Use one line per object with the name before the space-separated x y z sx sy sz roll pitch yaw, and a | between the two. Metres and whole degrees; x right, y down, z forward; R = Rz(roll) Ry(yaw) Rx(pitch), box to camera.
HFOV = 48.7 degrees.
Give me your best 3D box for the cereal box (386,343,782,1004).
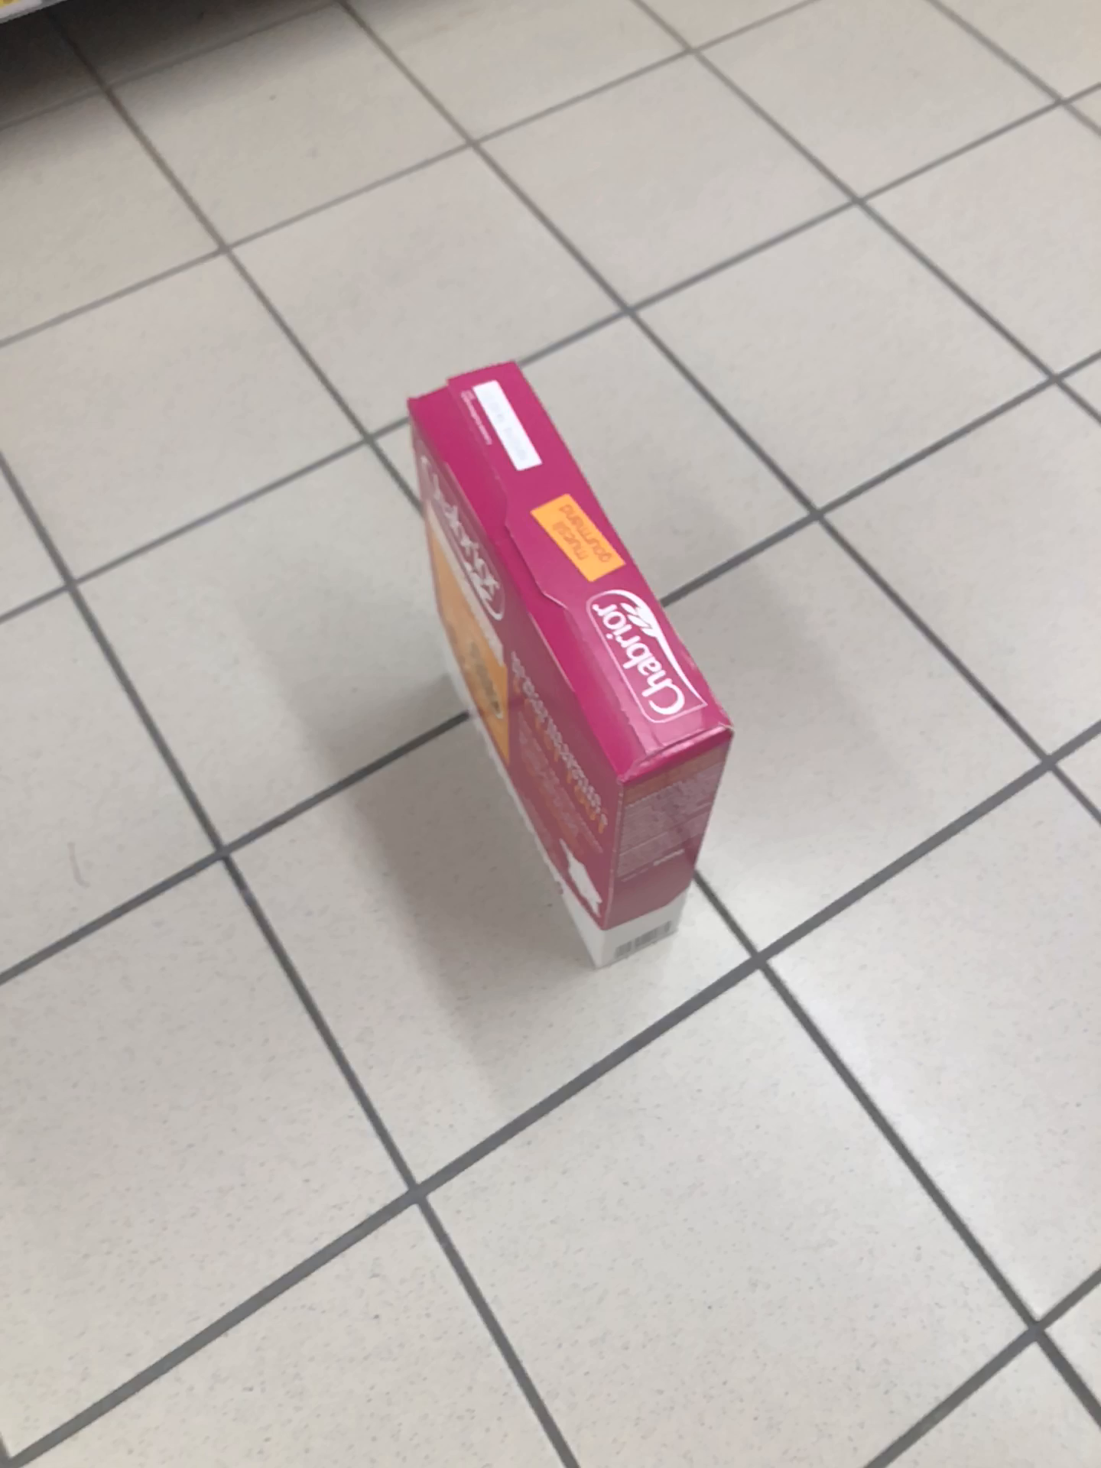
cereal box | 0.006 -0.014 0.556 0.060 0.229 0.211 -23 65 -12
